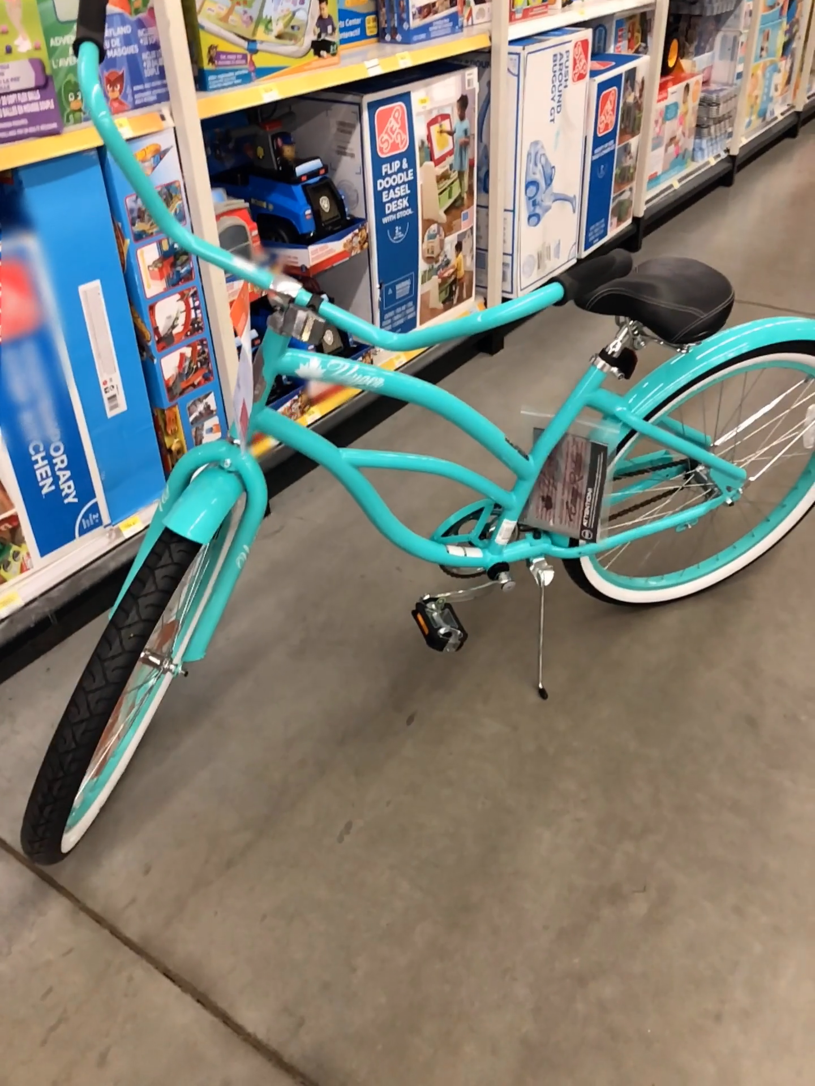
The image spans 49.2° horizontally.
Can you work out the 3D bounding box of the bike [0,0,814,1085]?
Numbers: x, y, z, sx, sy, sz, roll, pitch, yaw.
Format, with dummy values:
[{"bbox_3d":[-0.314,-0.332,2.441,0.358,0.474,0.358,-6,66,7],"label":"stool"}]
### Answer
[{"bbox_3d":[0.148,-0.073,1.310,1.493,1.143,0.762,-23,40,-21],"label":"bike"}]
